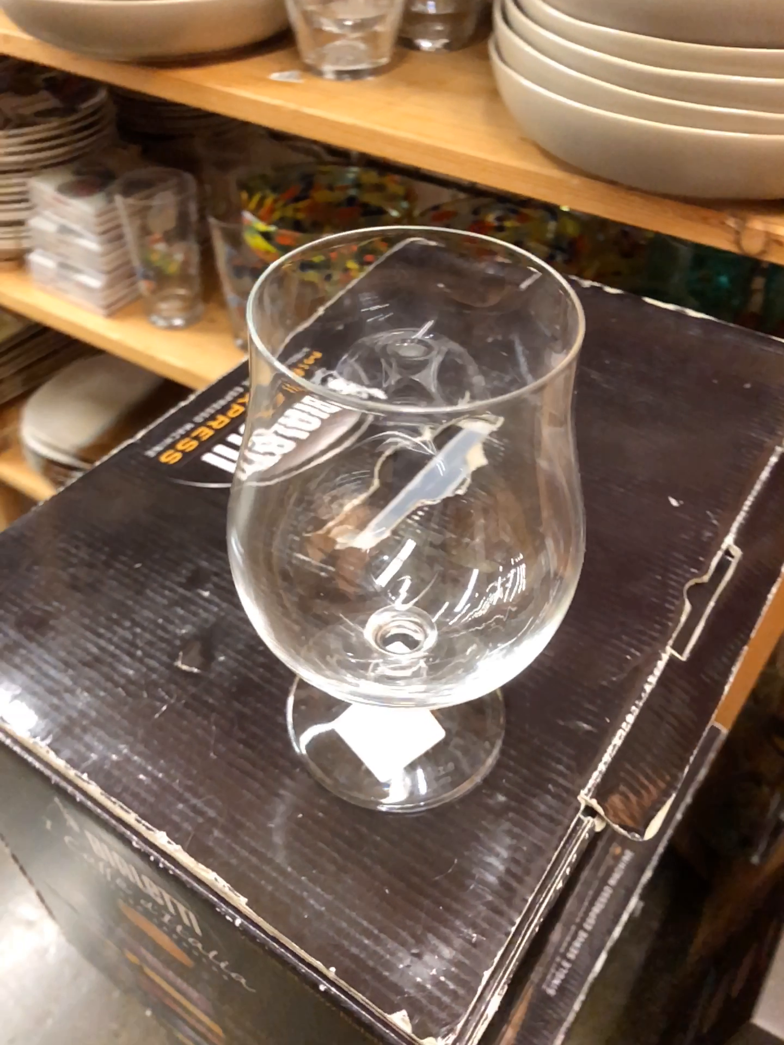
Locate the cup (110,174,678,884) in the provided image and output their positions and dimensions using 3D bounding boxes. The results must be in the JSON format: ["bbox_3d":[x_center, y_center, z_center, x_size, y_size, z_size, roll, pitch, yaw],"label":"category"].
[{"bbox_3d":[0.002,0.006,0.224,0.082,0.145,0.079,0,45,0],"label":"cup"}]
